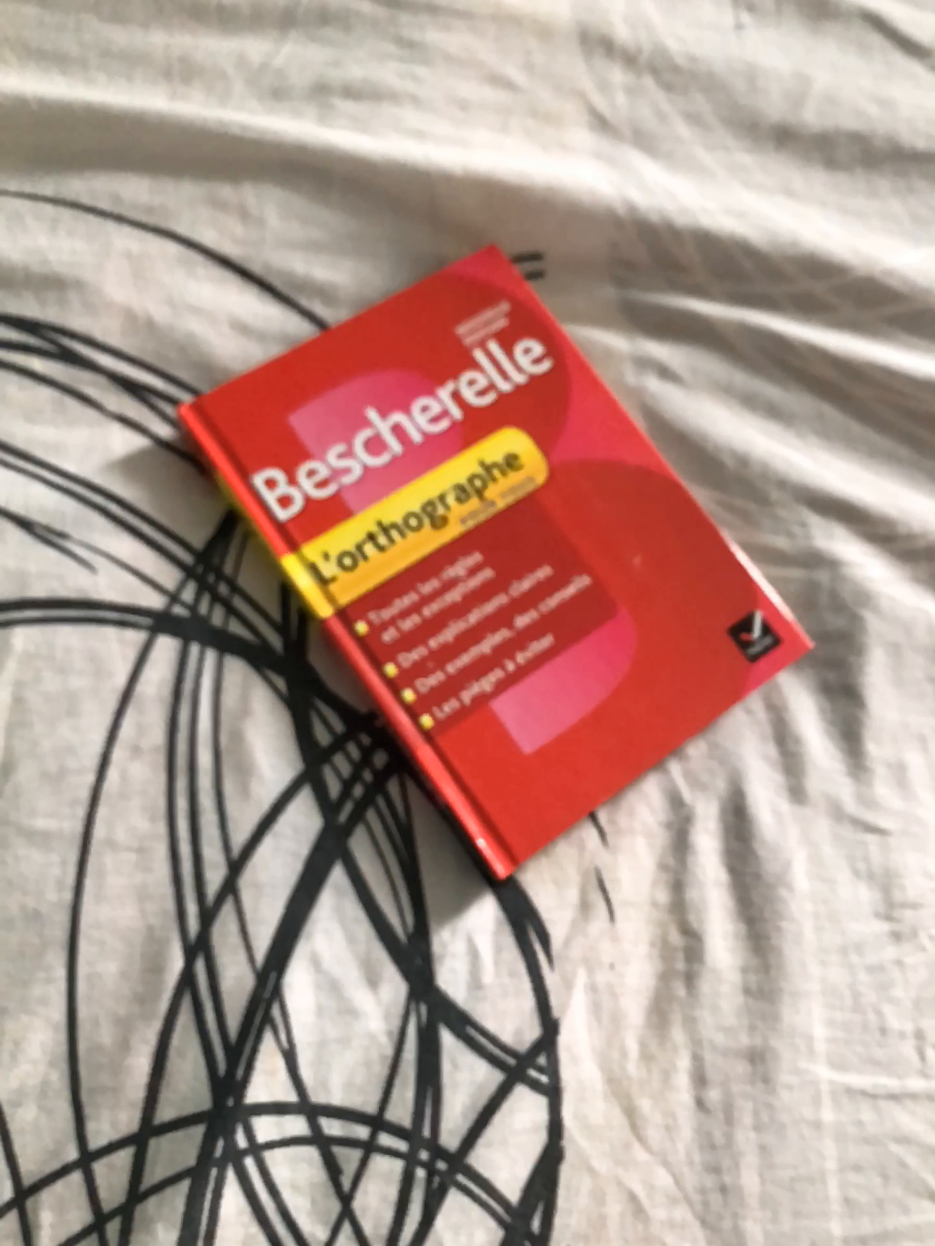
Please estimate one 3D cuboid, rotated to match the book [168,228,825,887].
[{"bbox_3d":[0.010,-0.030,0.368,0.143,0.023,0.189,-33,81,-16],"label":"book"}]
